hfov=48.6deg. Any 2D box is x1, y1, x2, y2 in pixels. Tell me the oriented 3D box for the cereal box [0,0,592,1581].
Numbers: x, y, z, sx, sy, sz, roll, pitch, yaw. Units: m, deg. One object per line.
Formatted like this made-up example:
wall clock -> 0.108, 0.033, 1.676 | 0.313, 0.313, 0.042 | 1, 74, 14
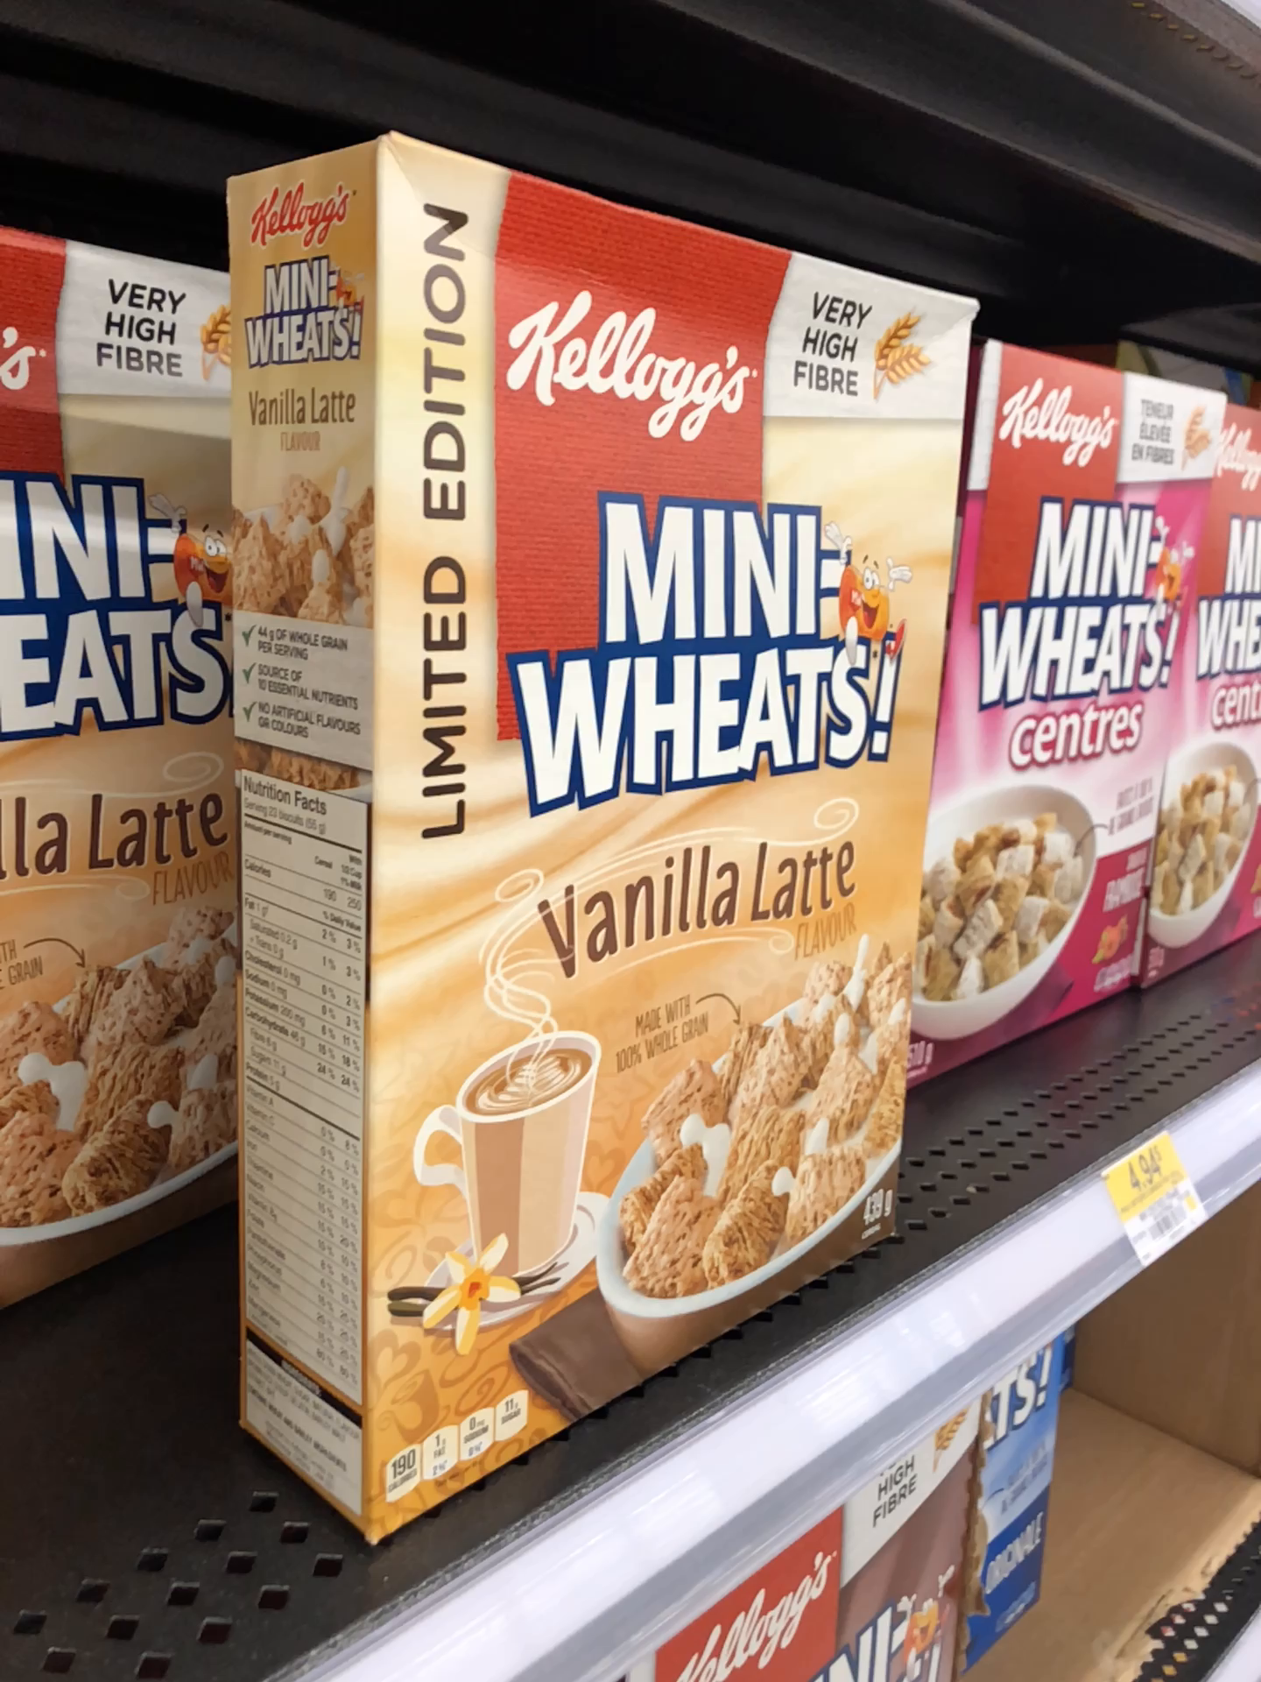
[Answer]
cereal box -> -0.095, -0.014, 0.333 | 0.060, 0.279, 0.191 | 10, 15, 37
